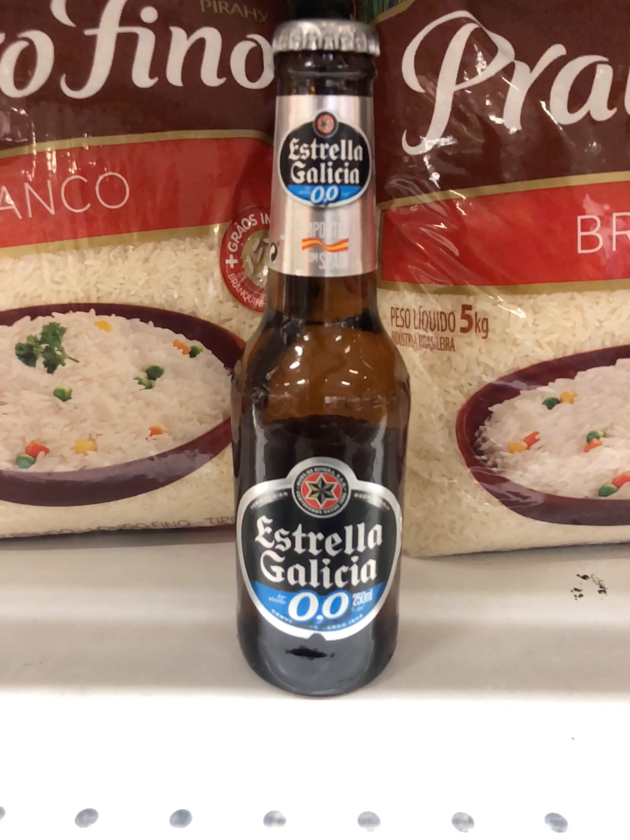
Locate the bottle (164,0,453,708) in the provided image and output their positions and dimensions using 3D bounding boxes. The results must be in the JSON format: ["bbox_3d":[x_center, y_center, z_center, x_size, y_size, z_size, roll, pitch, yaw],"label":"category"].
[{"bbox_3d":[-0.002,-0.013,0.208,0.060,0.189,0.060,1,22,0],"label":"bottle"}]
